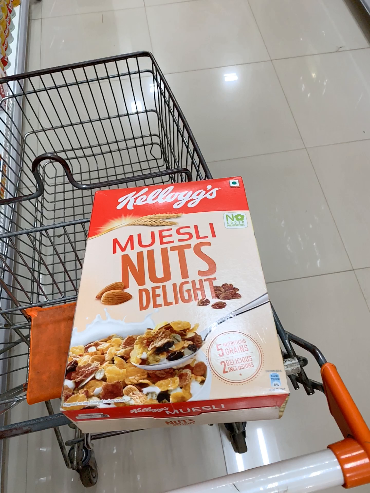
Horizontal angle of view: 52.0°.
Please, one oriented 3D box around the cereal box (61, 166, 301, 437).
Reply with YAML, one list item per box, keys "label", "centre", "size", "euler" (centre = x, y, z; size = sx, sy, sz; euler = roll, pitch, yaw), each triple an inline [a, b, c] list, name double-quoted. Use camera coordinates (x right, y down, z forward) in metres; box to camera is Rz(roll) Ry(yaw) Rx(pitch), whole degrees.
- label: "cereal box"
  centre: [-0.011, 0.042, 0.412]
  size: [0.190, 0.080, 0.272]
  euler: [-5, 53, 0]
